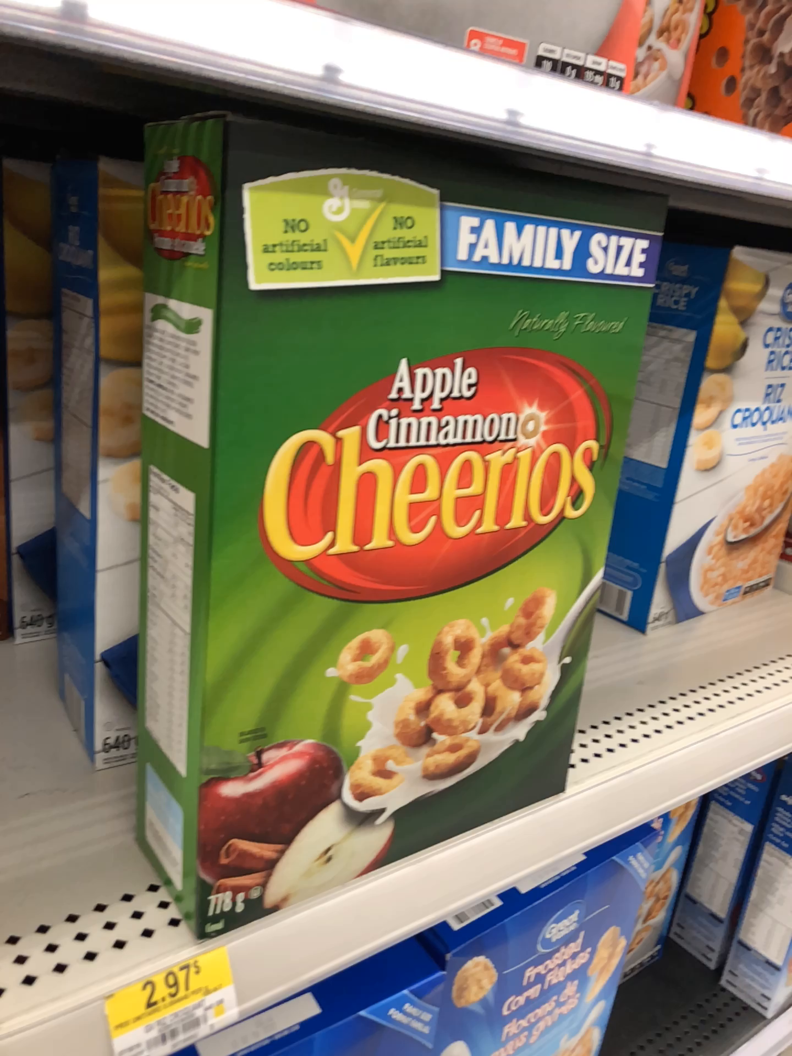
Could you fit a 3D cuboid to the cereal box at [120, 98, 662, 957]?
[{"bbox_3d":[-0.007,-0.001,0.452,0.240,0.358,0.090,-7,21,-36],"label":"cereal box"}]
